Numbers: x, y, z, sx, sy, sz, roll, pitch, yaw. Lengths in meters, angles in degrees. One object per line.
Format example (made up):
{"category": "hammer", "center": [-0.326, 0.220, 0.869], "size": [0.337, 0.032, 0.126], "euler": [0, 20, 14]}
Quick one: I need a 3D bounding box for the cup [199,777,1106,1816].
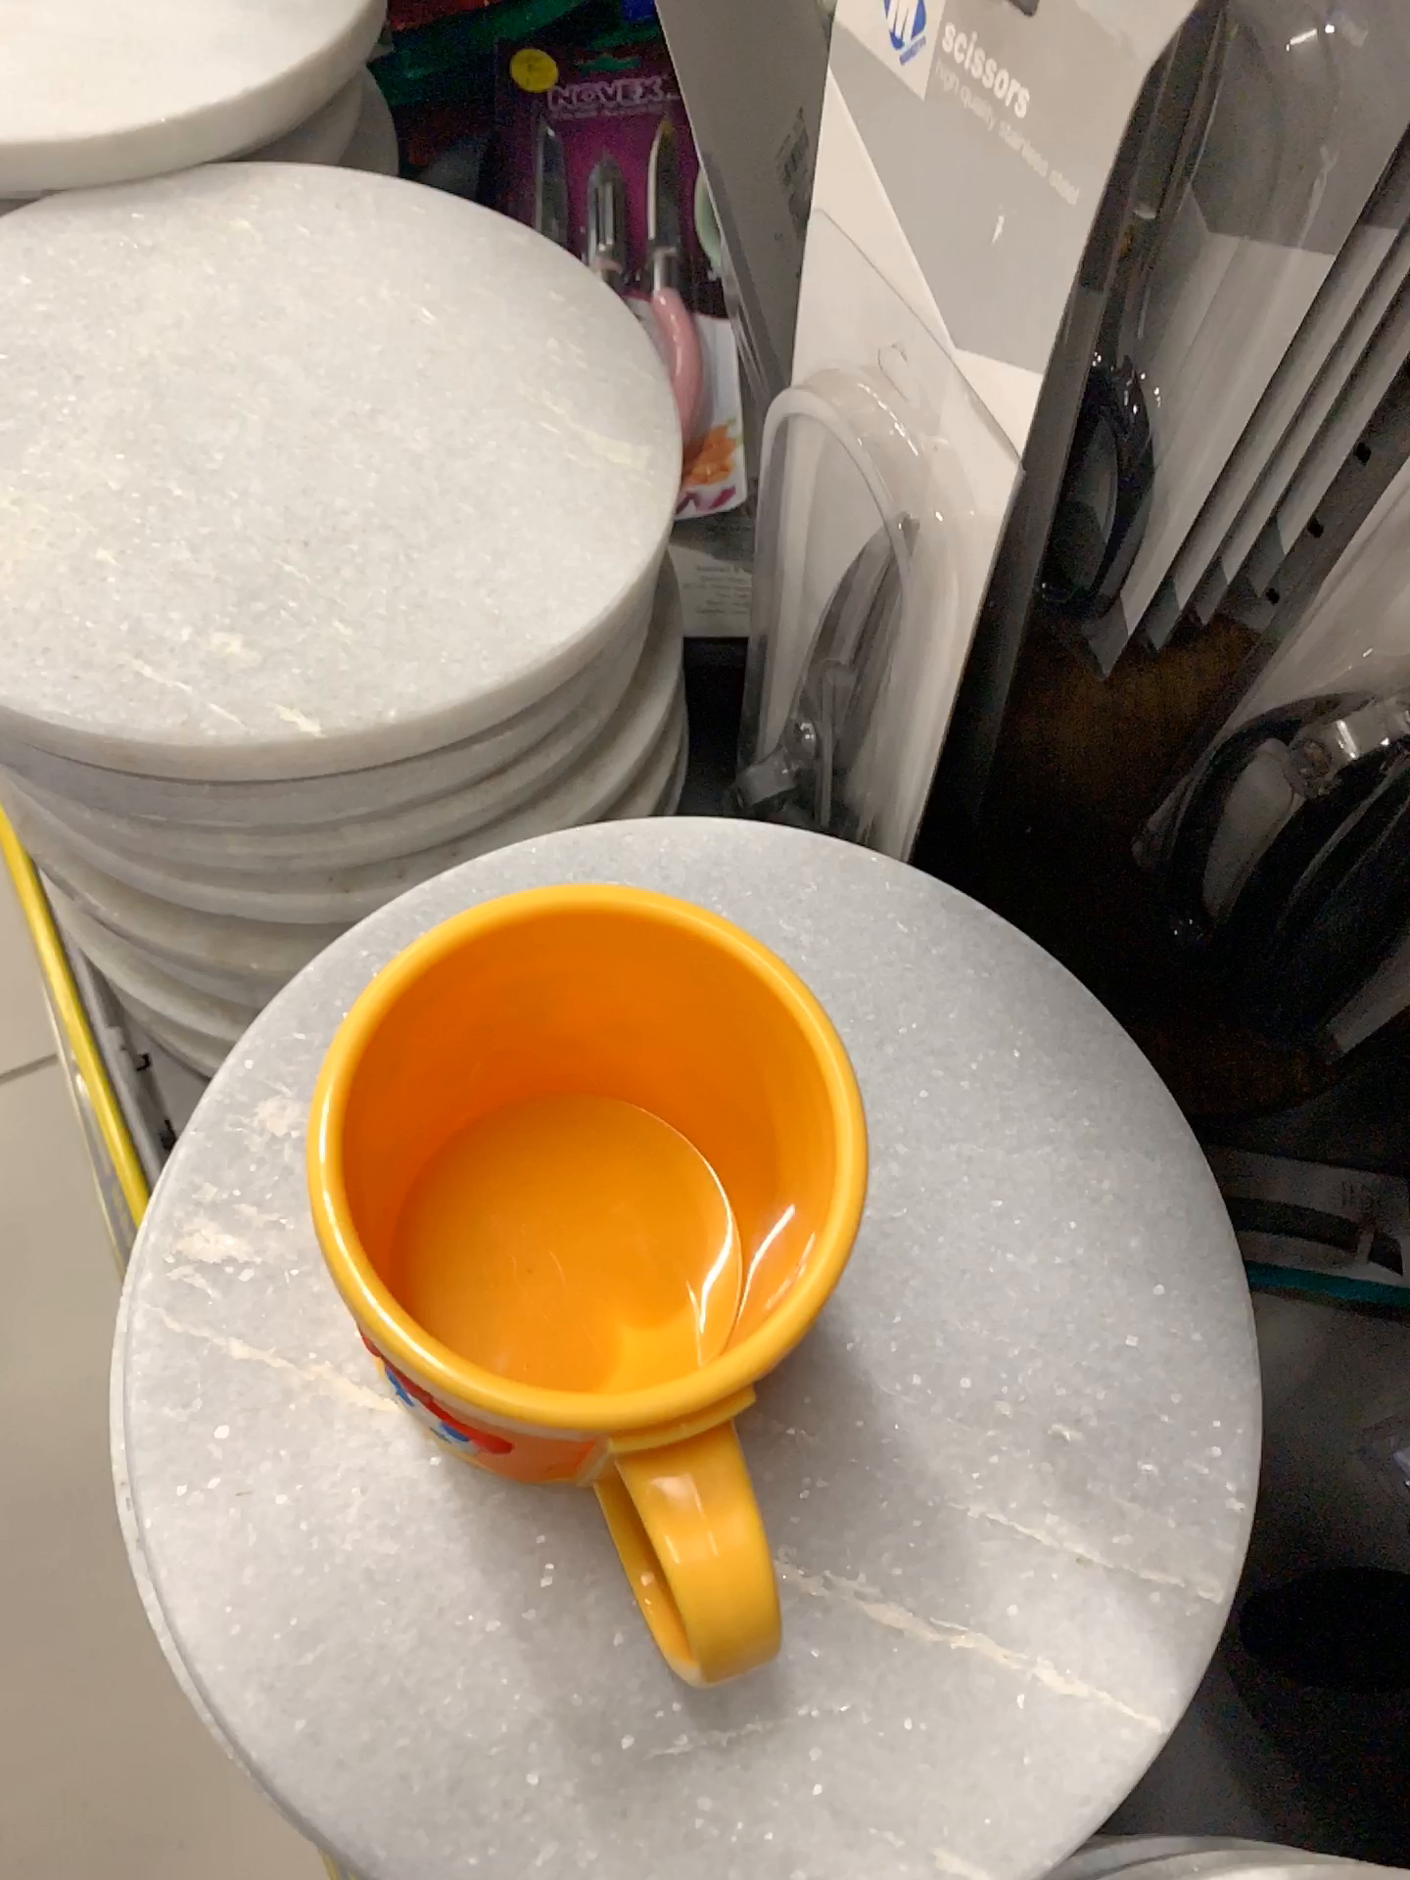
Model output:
{"category": "cup", "center": [-0.015, 0.057, 0.227], "size": [0.080, 0.100, 0.110], "euler": [-18, 64, -15]}
